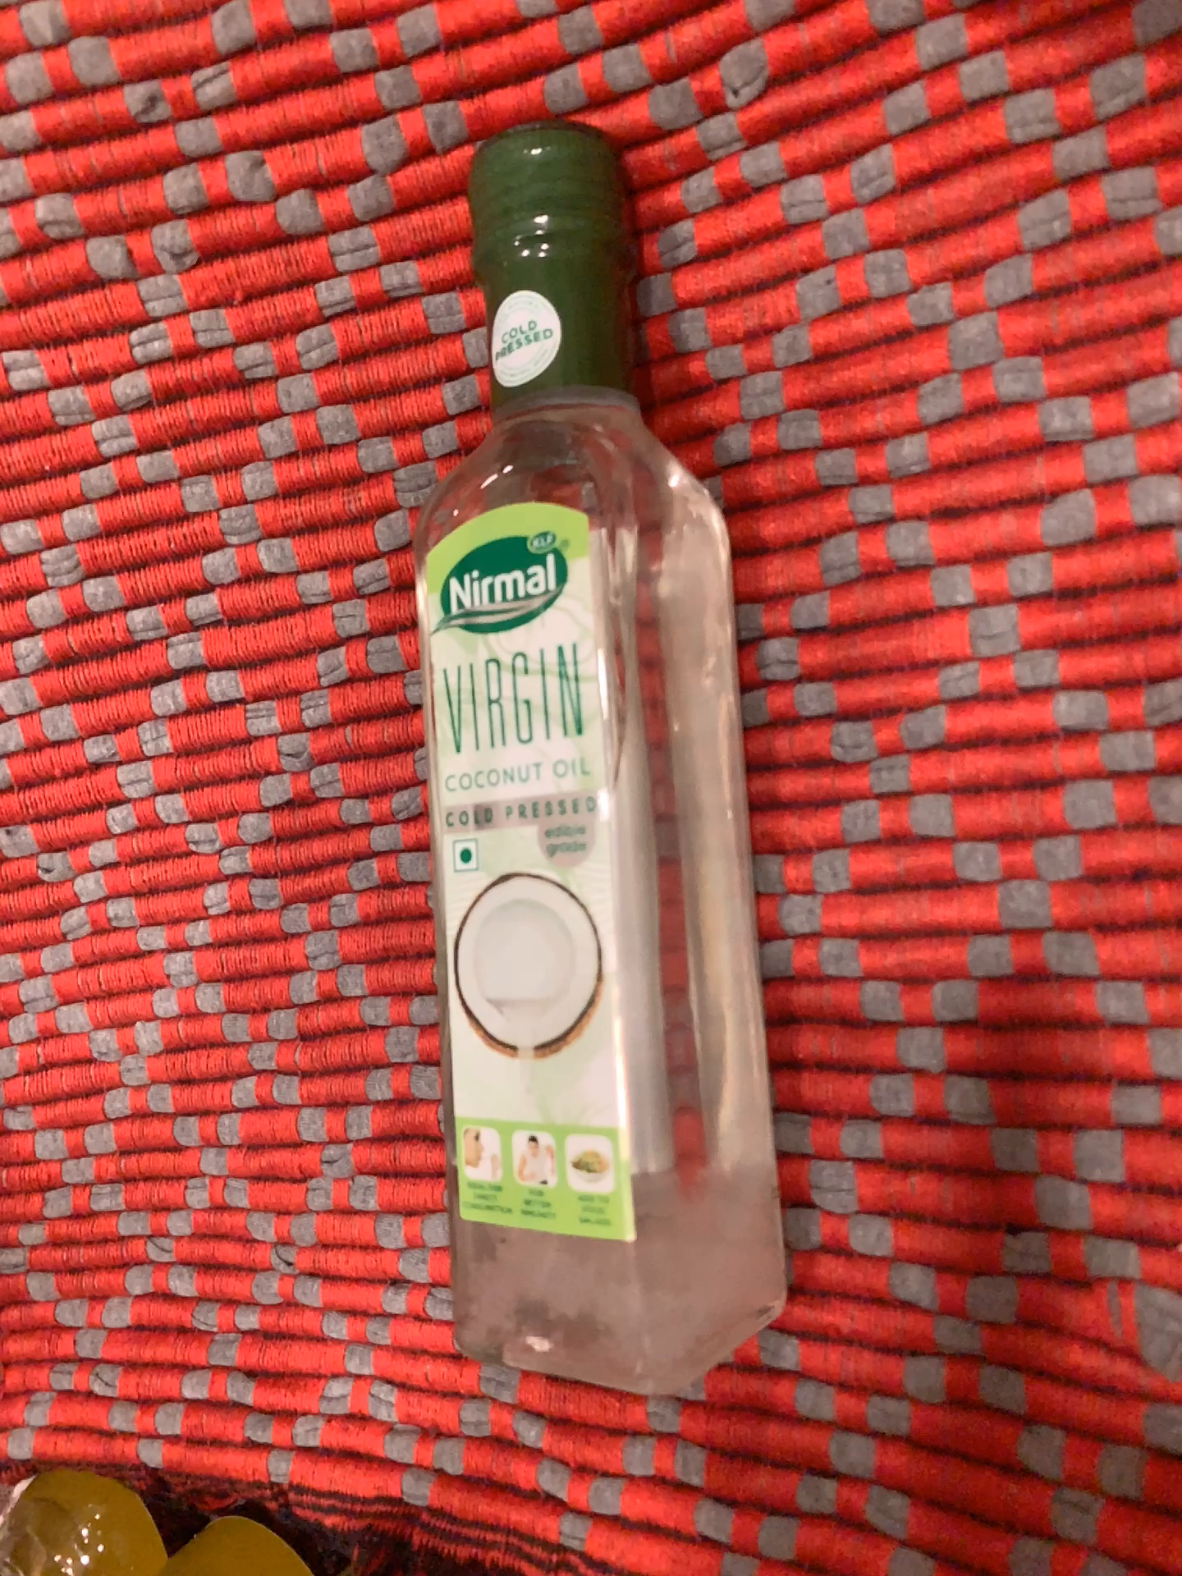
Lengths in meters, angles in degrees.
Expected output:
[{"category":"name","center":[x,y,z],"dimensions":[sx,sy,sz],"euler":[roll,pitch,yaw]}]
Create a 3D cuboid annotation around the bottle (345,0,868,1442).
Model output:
[{"category":"bottle","center":[0.002,-0.014,0.221],"dimensions":[0.060,0.060,0.220],"euler":[-7,83,33]}]
